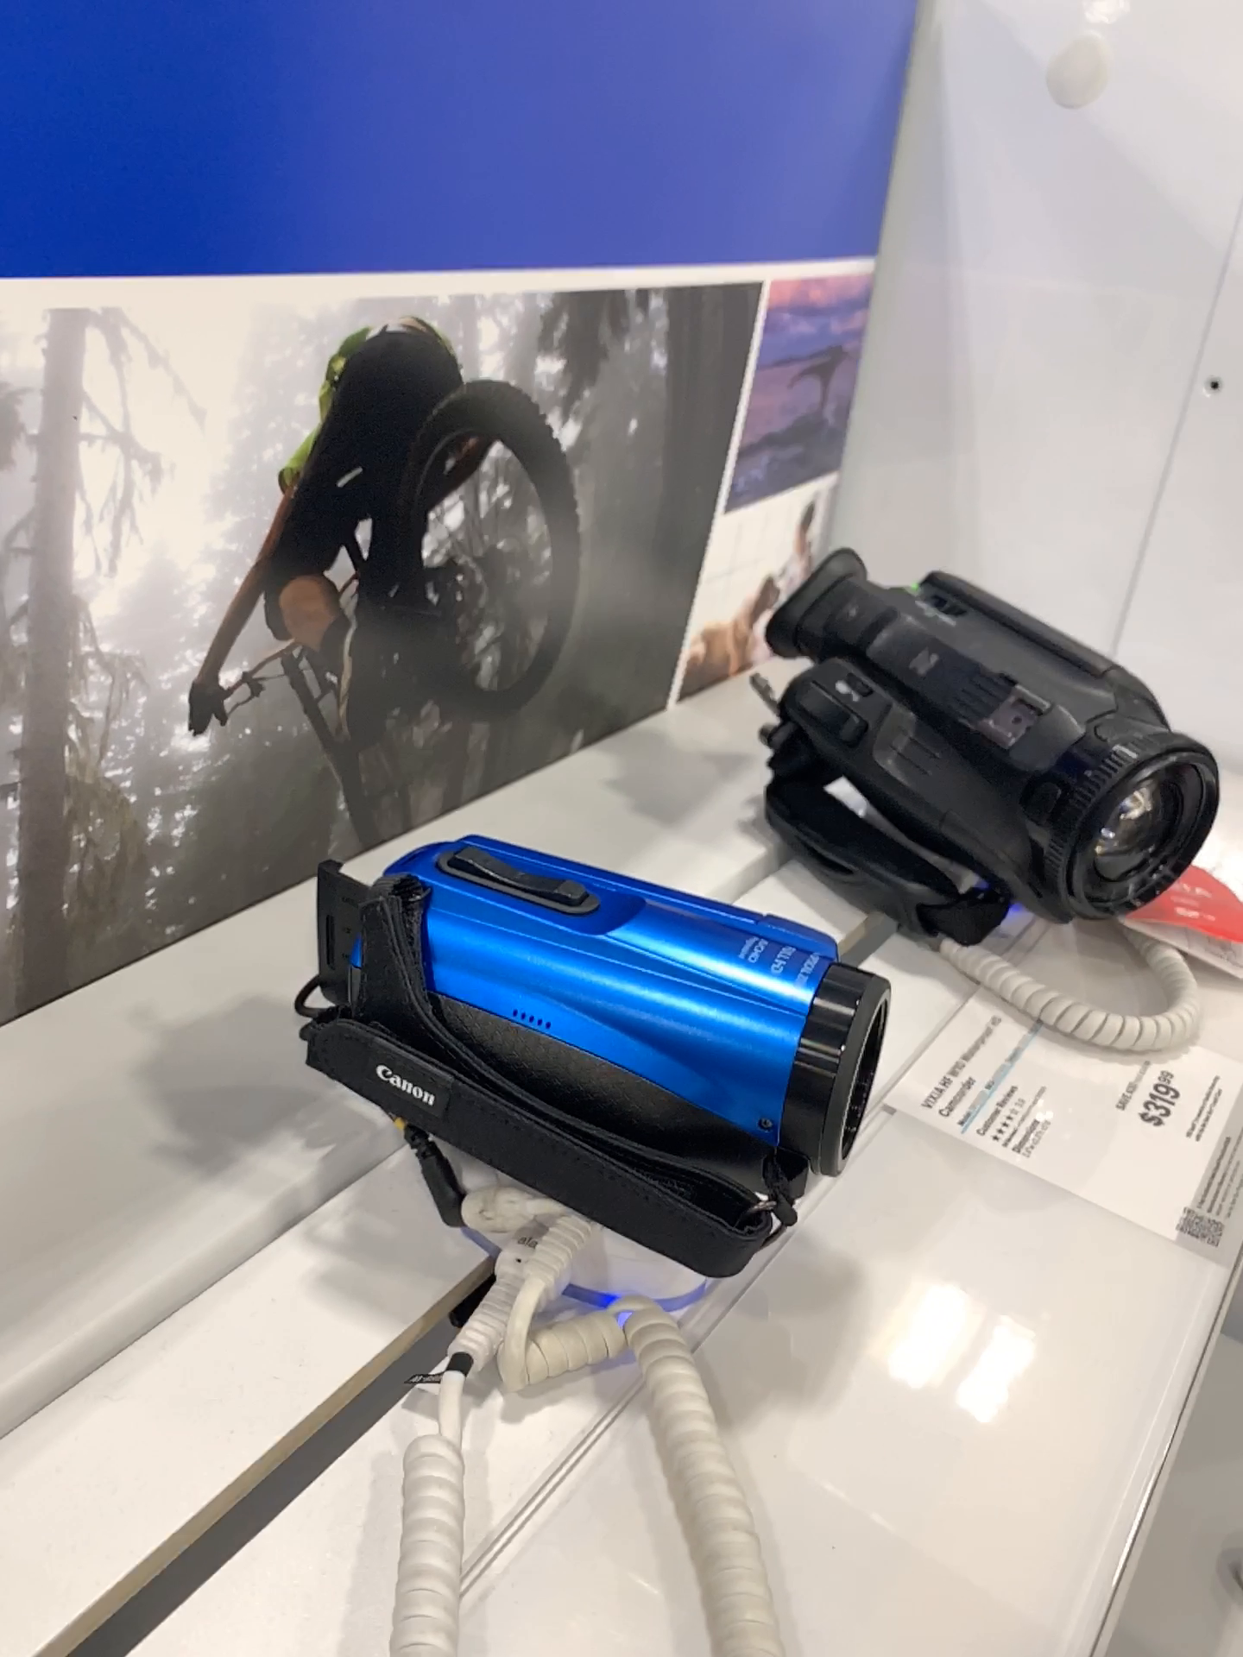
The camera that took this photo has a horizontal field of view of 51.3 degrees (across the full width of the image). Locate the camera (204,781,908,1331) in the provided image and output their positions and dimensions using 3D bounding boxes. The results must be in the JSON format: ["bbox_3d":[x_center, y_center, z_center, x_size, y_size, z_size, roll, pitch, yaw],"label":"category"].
[{"bbox_3d":[-0.016,0.045,0.306,0.143,0.057,0.073,16,27,18],"label":"camera"}]
